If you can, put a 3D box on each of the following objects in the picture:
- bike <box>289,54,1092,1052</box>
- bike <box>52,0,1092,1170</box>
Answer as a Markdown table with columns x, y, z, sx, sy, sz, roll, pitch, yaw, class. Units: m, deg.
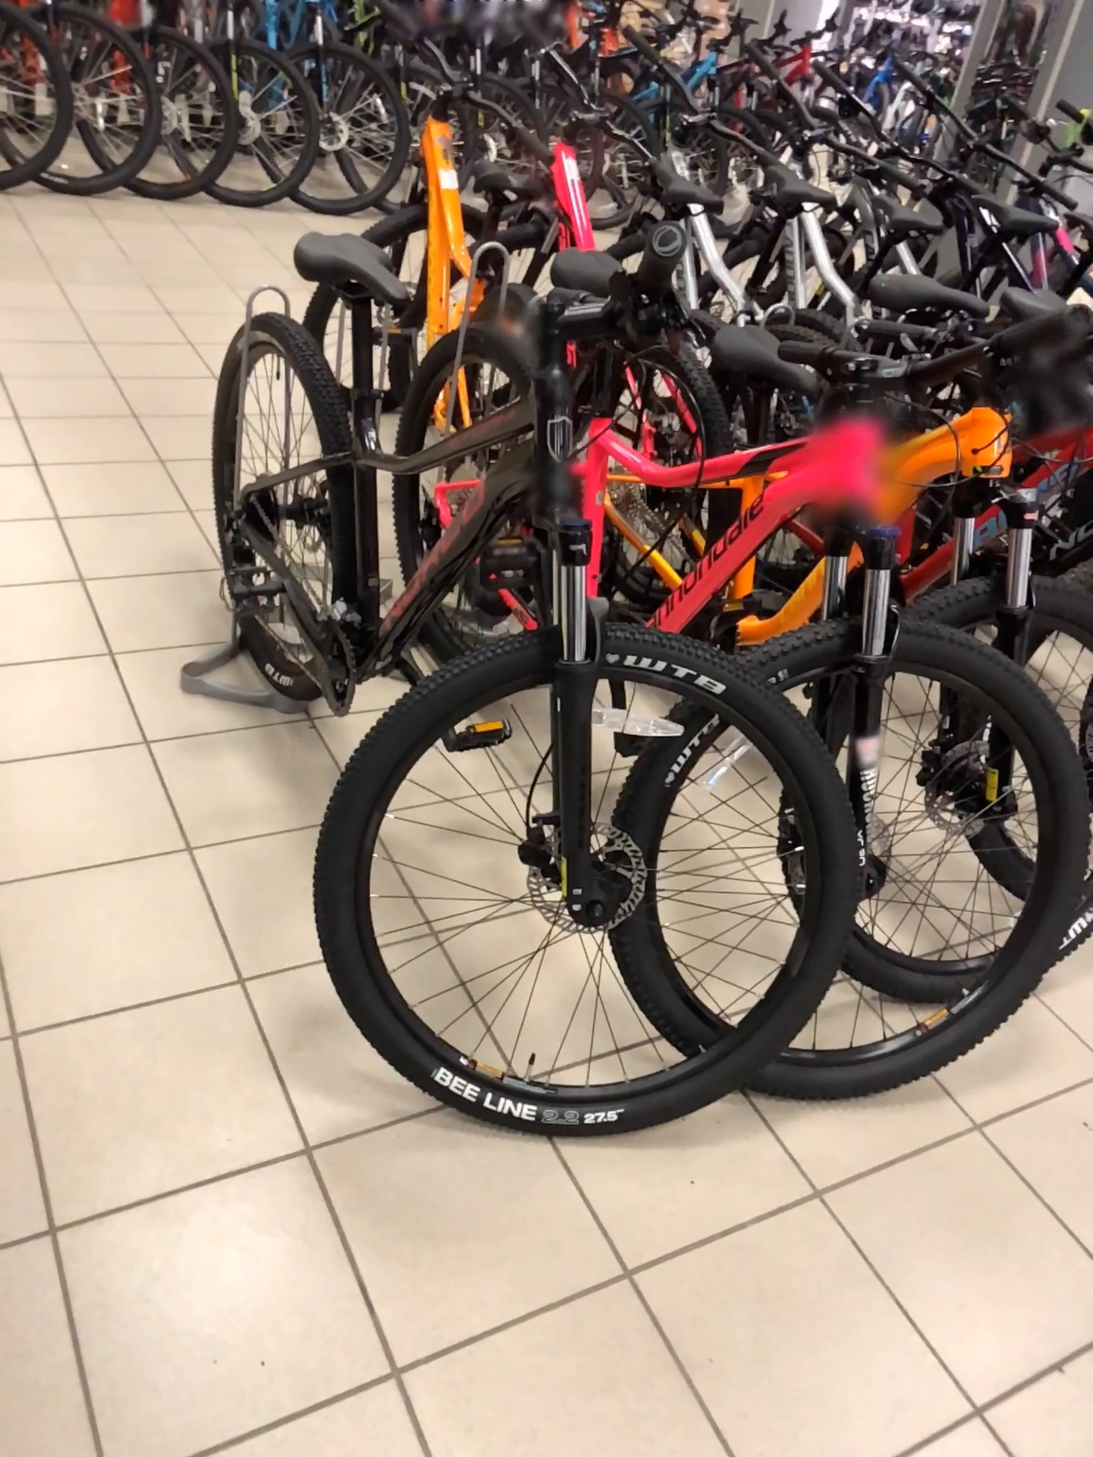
| x | y | z | sx | sy | sz | roll | pitch | yaw | class |
| --- | --- | --- | --- | --- | --- | --- | --- | --- | --- |
| 0.336 | -0.389 | 2.068 | 0.654 | 1.074 | 1.568 | -17 | 41 | -37 | bike |
| -0.034 | -0.321 | 1.914 | 0.686 | 1.101 | 1.583 | -18 | 44 | -38 | bike |
